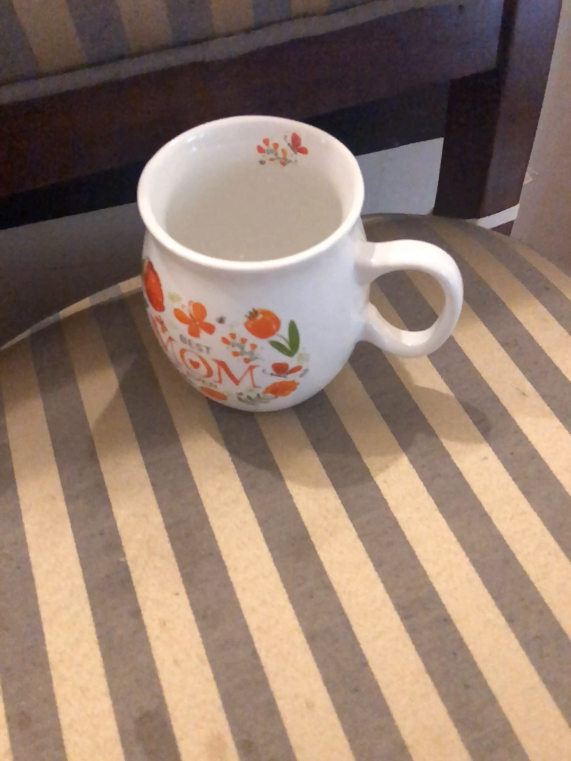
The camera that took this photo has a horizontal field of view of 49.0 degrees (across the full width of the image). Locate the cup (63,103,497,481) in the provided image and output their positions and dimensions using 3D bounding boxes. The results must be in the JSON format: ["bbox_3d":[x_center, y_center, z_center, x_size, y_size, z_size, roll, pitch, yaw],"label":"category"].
[{"bbox_3d":[0.005,-0.042,0.276,0.140,0.090,0.111,13,55,12],"label":"cup"}]
